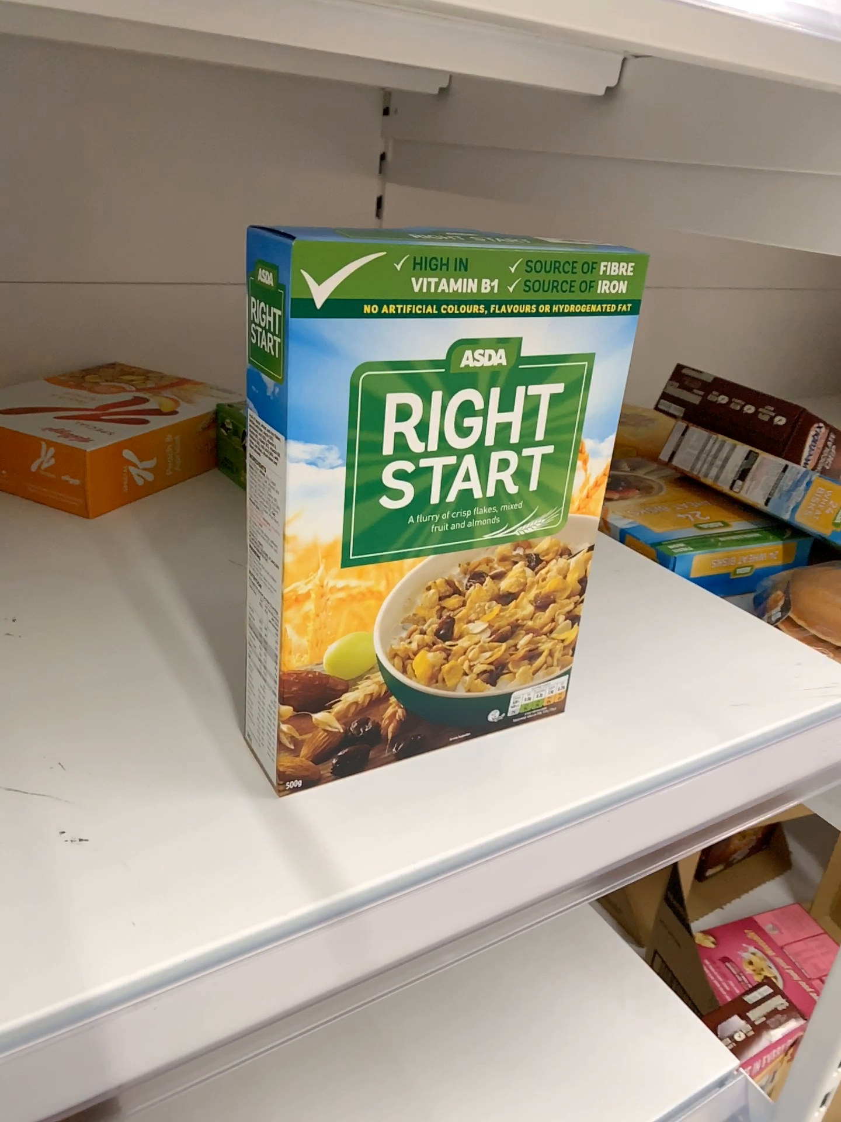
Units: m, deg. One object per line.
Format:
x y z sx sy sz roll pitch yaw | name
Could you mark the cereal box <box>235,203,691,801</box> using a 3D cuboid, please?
0.013 -0.032 0.448 0.201 0.268 0.070 -9 29 -30 | cereal box
